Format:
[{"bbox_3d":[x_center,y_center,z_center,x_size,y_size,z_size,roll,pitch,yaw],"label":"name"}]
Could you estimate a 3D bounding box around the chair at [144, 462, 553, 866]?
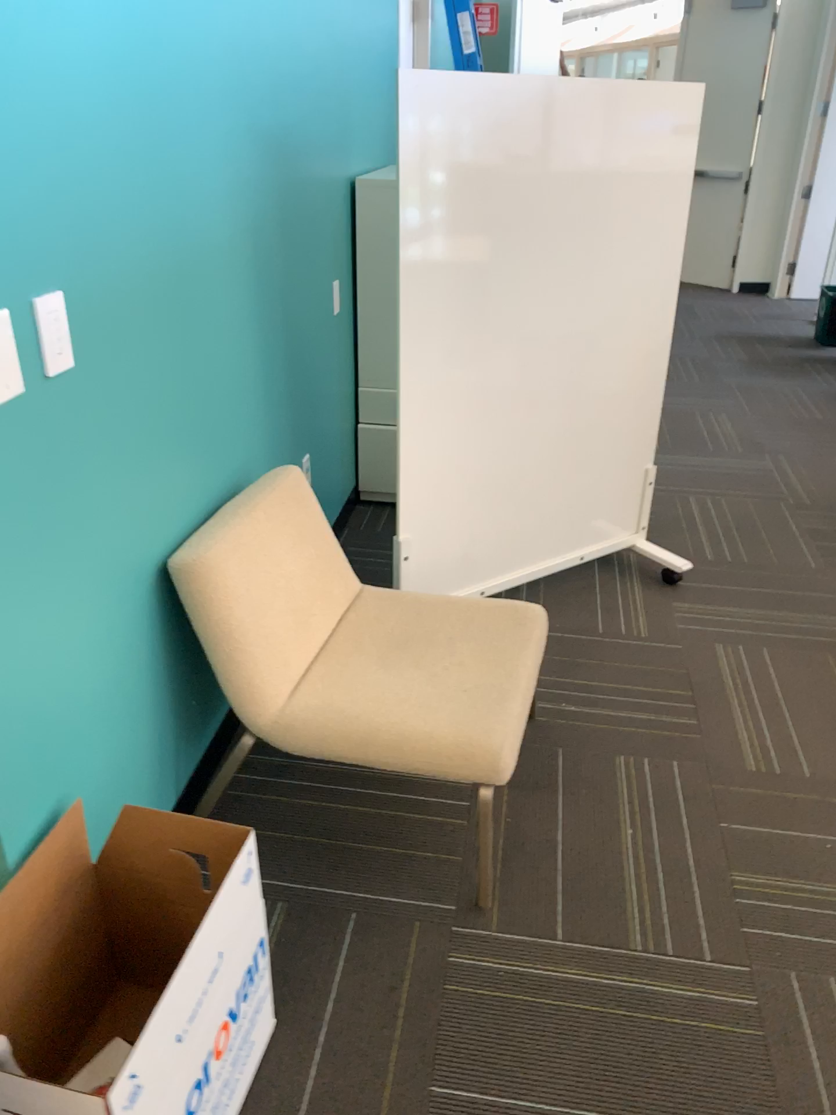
[{"bbox_3d":[-0.104,0.195,2.001,0.730,0.567,0.663,7,28,11],"label":"chair"}]
